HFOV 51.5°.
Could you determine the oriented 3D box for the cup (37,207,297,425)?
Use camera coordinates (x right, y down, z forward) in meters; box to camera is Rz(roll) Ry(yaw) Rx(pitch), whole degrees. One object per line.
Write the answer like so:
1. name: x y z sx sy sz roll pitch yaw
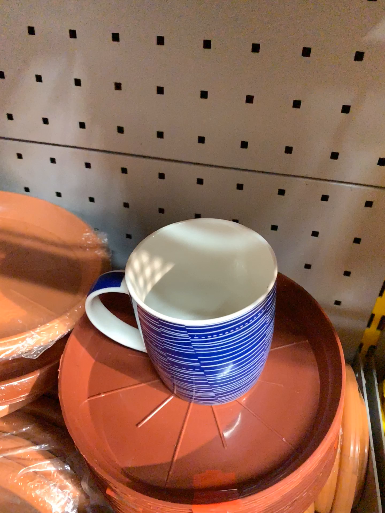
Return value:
1. cup: -0.011 0.038 0.269 0.130 0.100 0.100 -2 39 2
